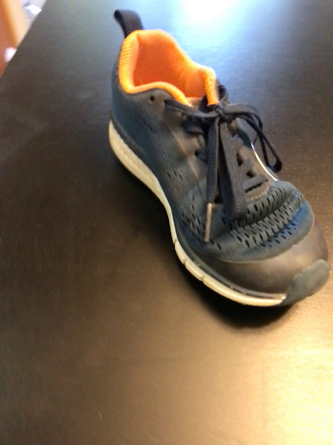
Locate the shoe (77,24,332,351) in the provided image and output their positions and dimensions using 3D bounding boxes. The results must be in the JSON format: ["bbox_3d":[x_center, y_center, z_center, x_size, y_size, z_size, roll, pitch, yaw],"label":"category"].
[{"bbox_3d":[0.026,-0.036,0.223,0.084,0.072,0.187,-24,57,-18],"label":"shoe"}]
